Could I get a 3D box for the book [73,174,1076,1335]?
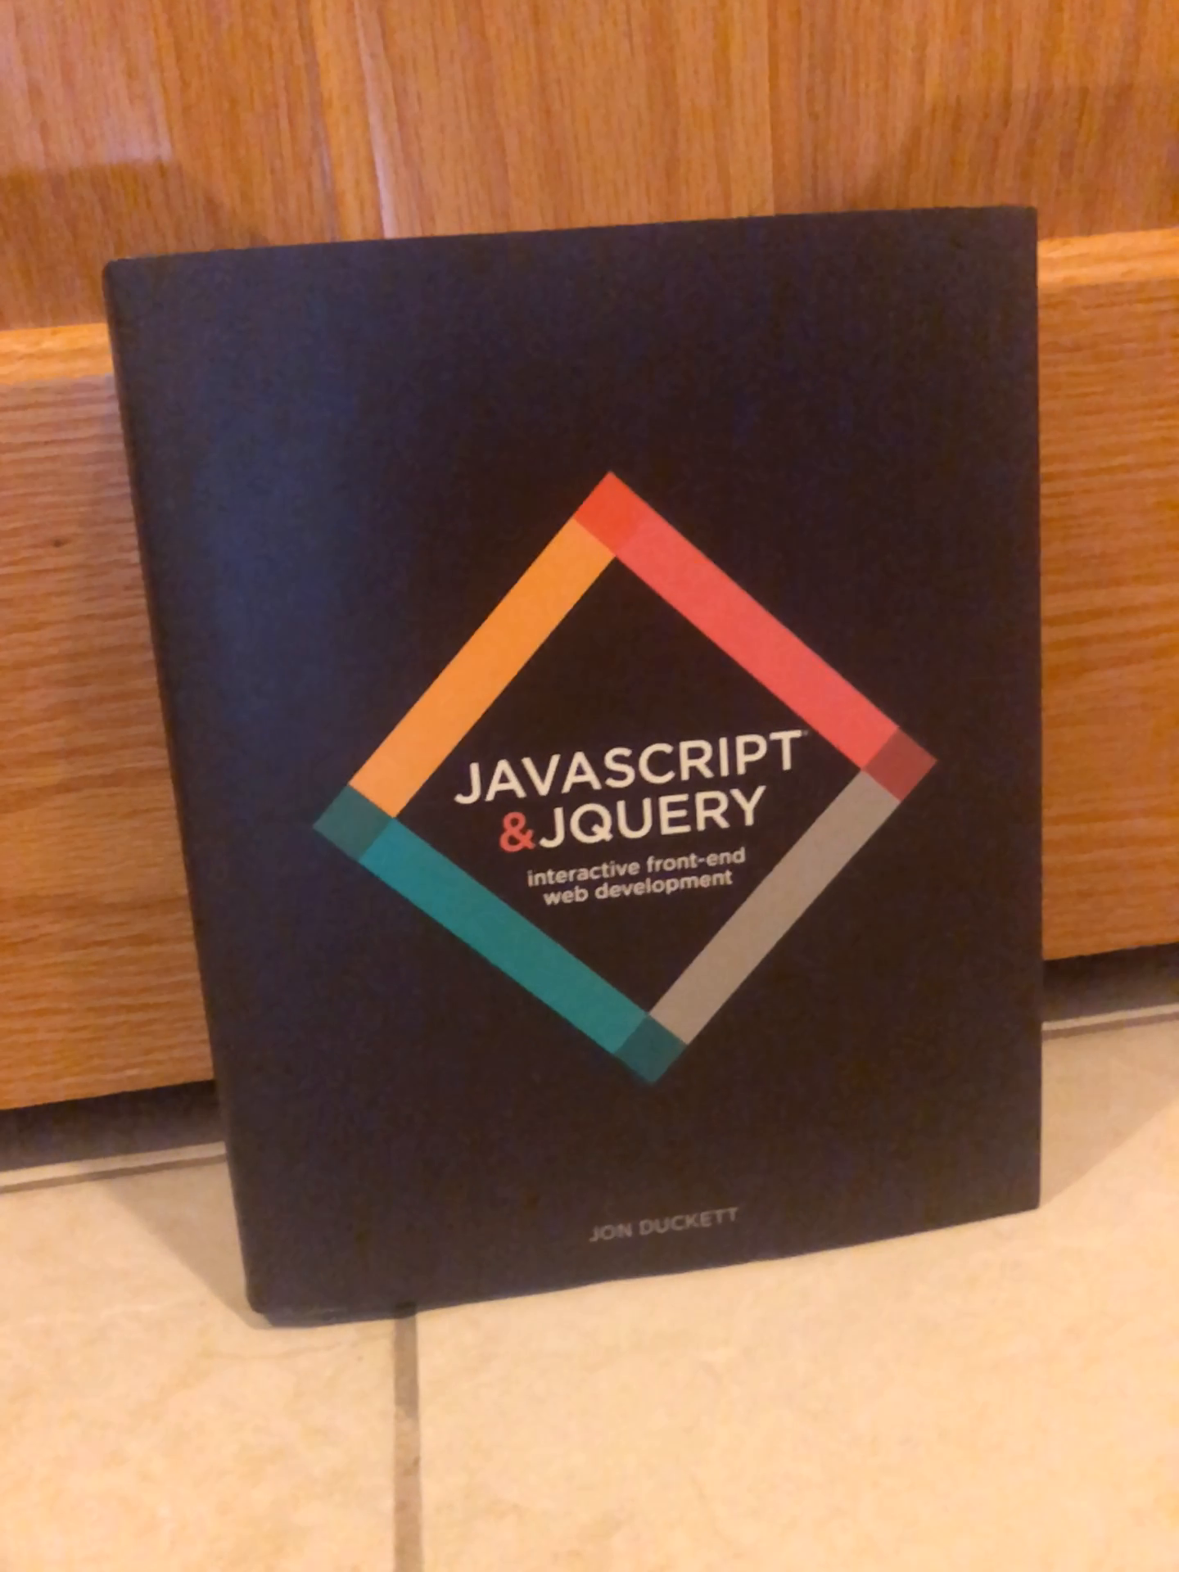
[{"bbox_3d":[0.006,-0.007,0.318,0.200,0.237,0.060,-7,11,-5],"label":"book"}]
